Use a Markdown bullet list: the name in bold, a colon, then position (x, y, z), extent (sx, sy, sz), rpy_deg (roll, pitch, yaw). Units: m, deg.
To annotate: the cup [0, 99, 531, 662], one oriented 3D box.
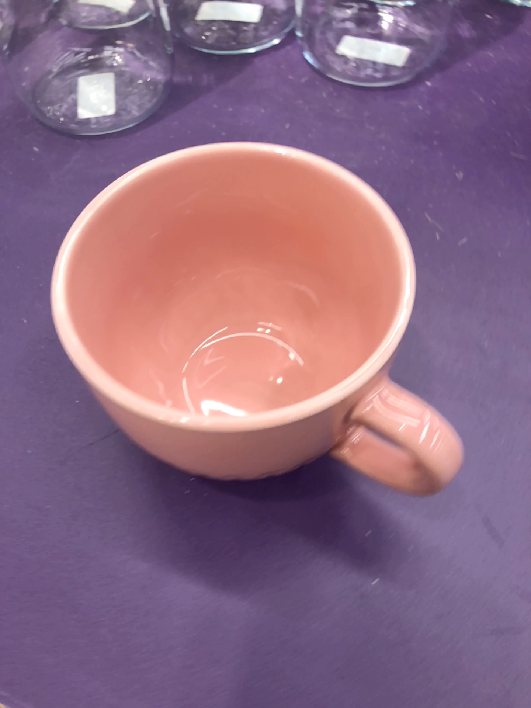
- **cup**: position (0.002, -0.001, 0.191), extent (0.140, 0.060, 0.110), rpy_deg (36, 66, 21)
